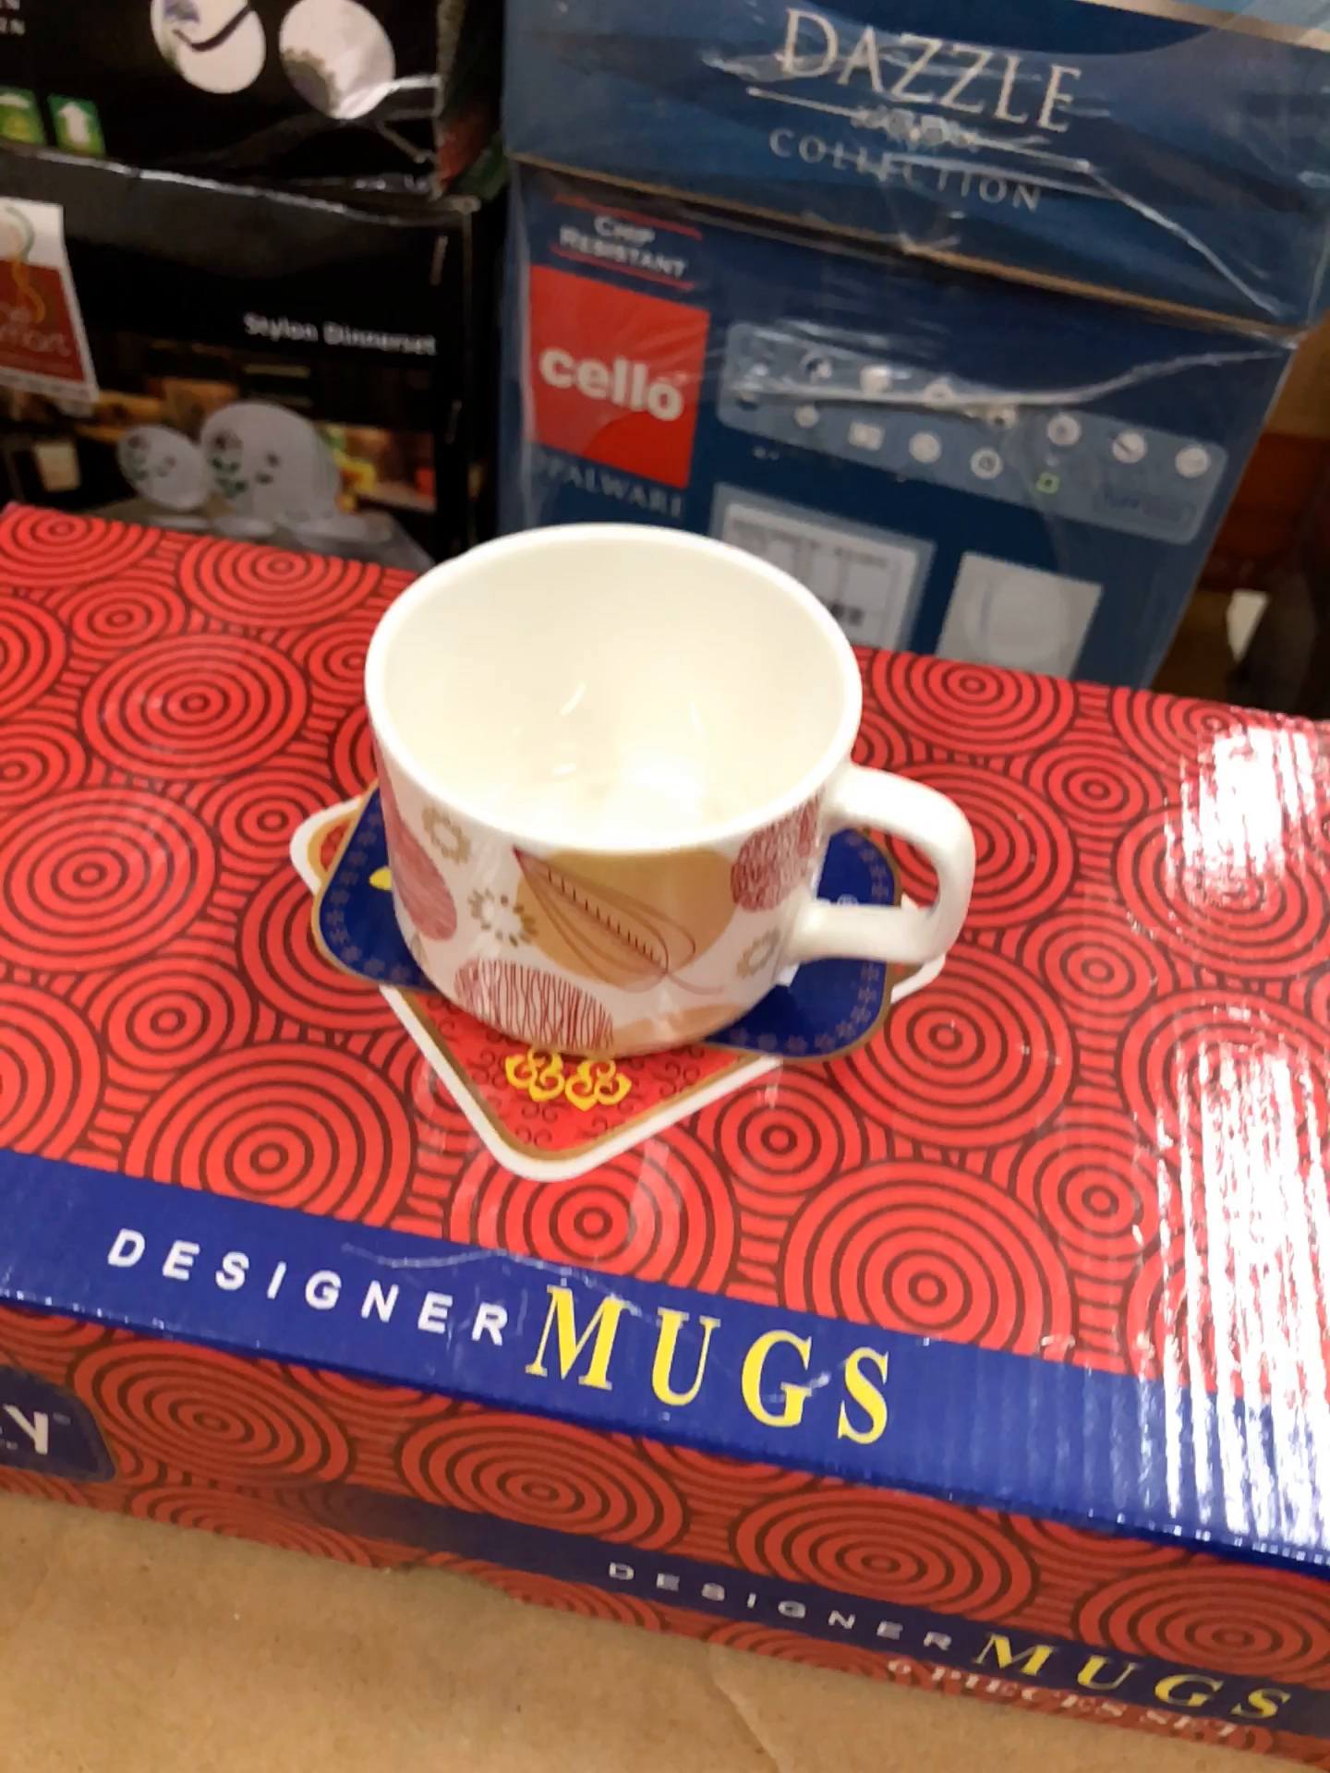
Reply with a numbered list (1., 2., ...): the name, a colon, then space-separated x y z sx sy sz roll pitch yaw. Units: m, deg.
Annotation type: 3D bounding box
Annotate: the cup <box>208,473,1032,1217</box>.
1. cup: -0.003 -0.008 0.210 0.090 0.050 0.071 15 47 6
